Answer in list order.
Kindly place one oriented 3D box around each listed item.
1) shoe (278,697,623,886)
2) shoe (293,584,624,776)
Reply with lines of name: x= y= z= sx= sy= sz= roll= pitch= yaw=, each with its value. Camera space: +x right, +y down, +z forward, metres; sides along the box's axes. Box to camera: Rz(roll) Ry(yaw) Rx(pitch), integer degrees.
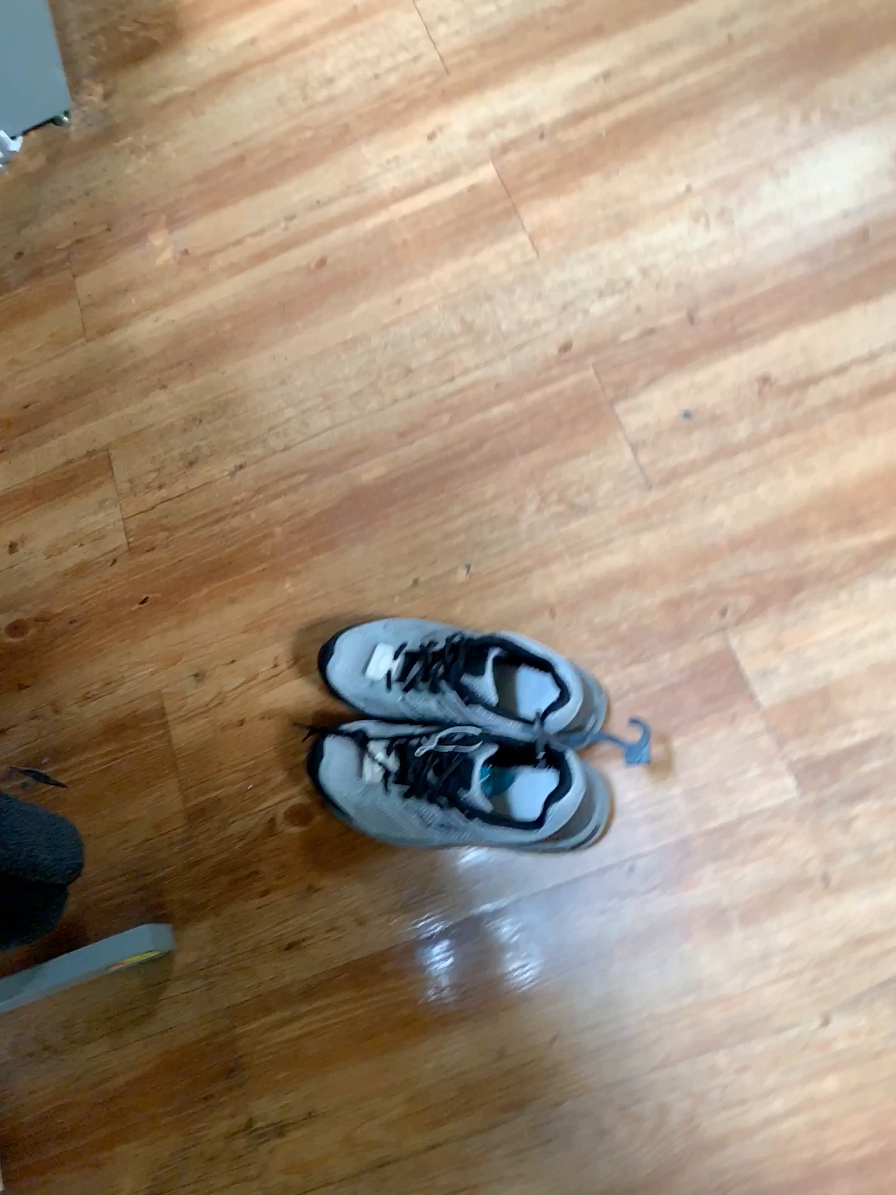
shoe: x=0.007 y=0.190 z=0.900 sx=0.309 sy=0.099 sz=0.123 roll=6 pitch=72 yaw=16
shoe: x=0.013 y=0.082 z=0.934 sx=0.308 sy=0.089 sz=0.117 roll=11 pitch=74 yaw=17
